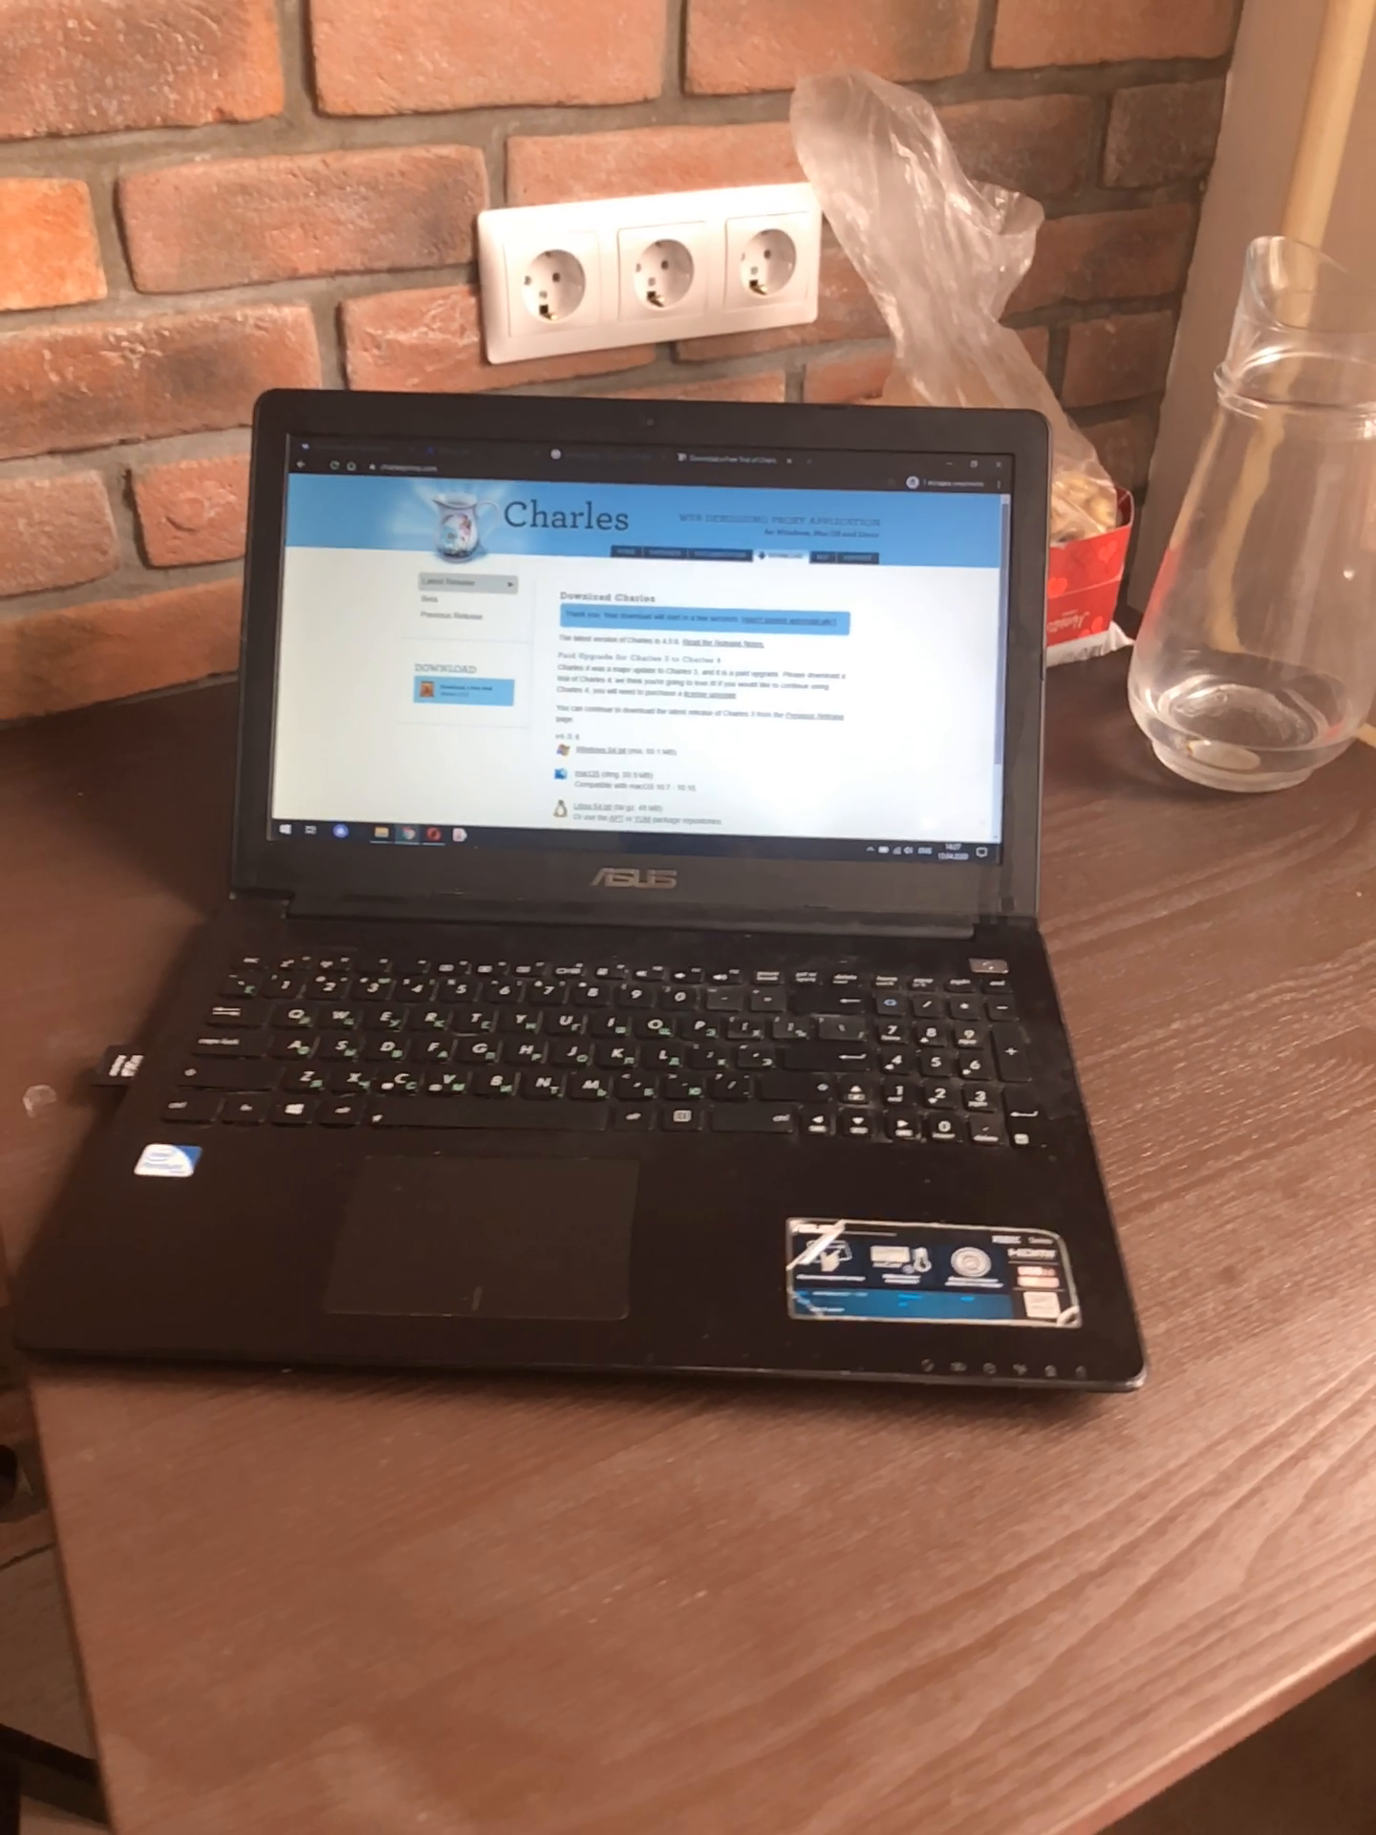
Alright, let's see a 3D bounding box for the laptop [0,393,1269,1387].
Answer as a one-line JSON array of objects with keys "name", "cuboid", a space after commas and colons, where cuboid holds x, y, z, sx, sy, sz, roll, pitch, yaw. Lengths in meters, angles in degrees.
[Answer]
[{"name": "laptop", "cuboid": [-0.031, -0.049, 0.600, 0.372, 0.186, 0.401, 2, 35, 2]}]
